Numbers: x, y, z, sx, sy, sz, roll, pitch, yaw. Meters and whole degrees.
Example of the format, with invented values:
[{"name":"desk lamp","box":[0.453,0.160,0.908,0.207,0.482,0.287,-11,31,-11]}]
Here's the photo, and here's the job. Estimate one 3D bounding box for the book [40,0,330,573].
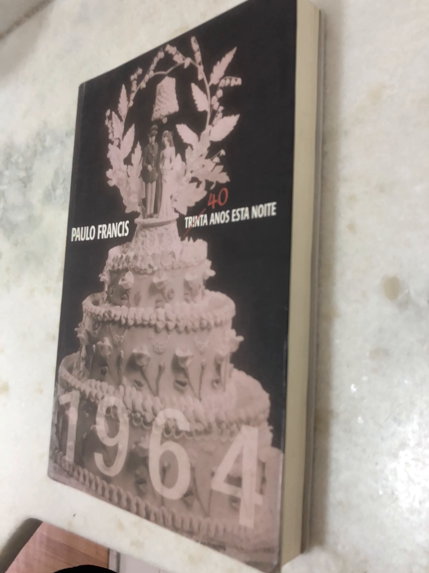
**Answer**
[{"name":"book","box":[-0.022,-0.006,0.203,0.141,0.020,0.203,-2,84,40]}]
